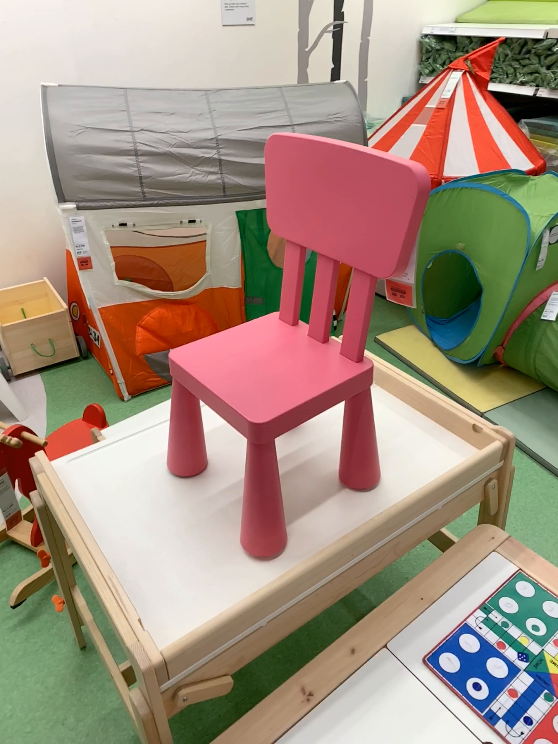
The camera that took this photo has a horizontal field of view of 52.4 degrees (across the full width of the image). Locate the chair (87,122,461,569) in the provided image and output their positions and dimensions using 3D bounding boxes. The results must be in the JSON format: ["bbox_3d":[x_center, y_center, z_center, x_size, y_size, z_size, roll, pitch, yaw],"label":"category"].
[{"bbox_3d":[-0.018,-0.080,1.028,0.400,0.597,0.421,-23,39,-30],"label":"chair"}]
